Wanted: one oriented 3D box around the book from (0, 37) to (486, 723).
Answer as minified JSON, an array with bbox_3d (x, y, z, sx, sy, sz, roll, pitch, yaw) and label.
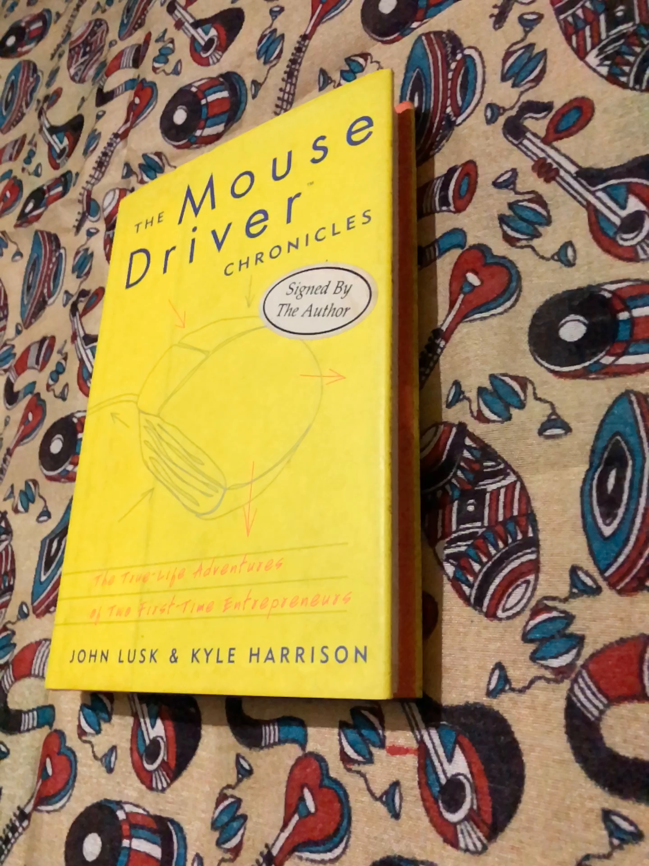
[{"bbox_3d":[-0.029,-0.016,0.265,0.161,0.040,0.220,-12,62,31],"label":"book"}]
